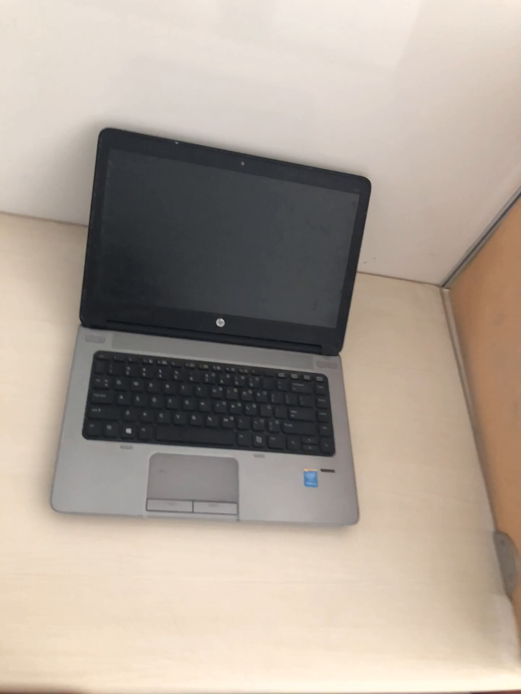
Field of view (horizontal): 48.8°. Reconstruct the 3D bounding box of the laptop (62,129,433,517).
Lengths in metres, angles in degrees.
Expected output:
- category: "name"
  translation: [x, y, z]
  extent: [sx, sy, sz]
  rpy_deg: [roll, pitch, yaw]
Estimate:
- category: "laptop"
  translation: [-0.024, -0.028, 0.645]
  extent: [0.322, 0.148, 0.379]
  rpy_deg: [7, 57, -13]
